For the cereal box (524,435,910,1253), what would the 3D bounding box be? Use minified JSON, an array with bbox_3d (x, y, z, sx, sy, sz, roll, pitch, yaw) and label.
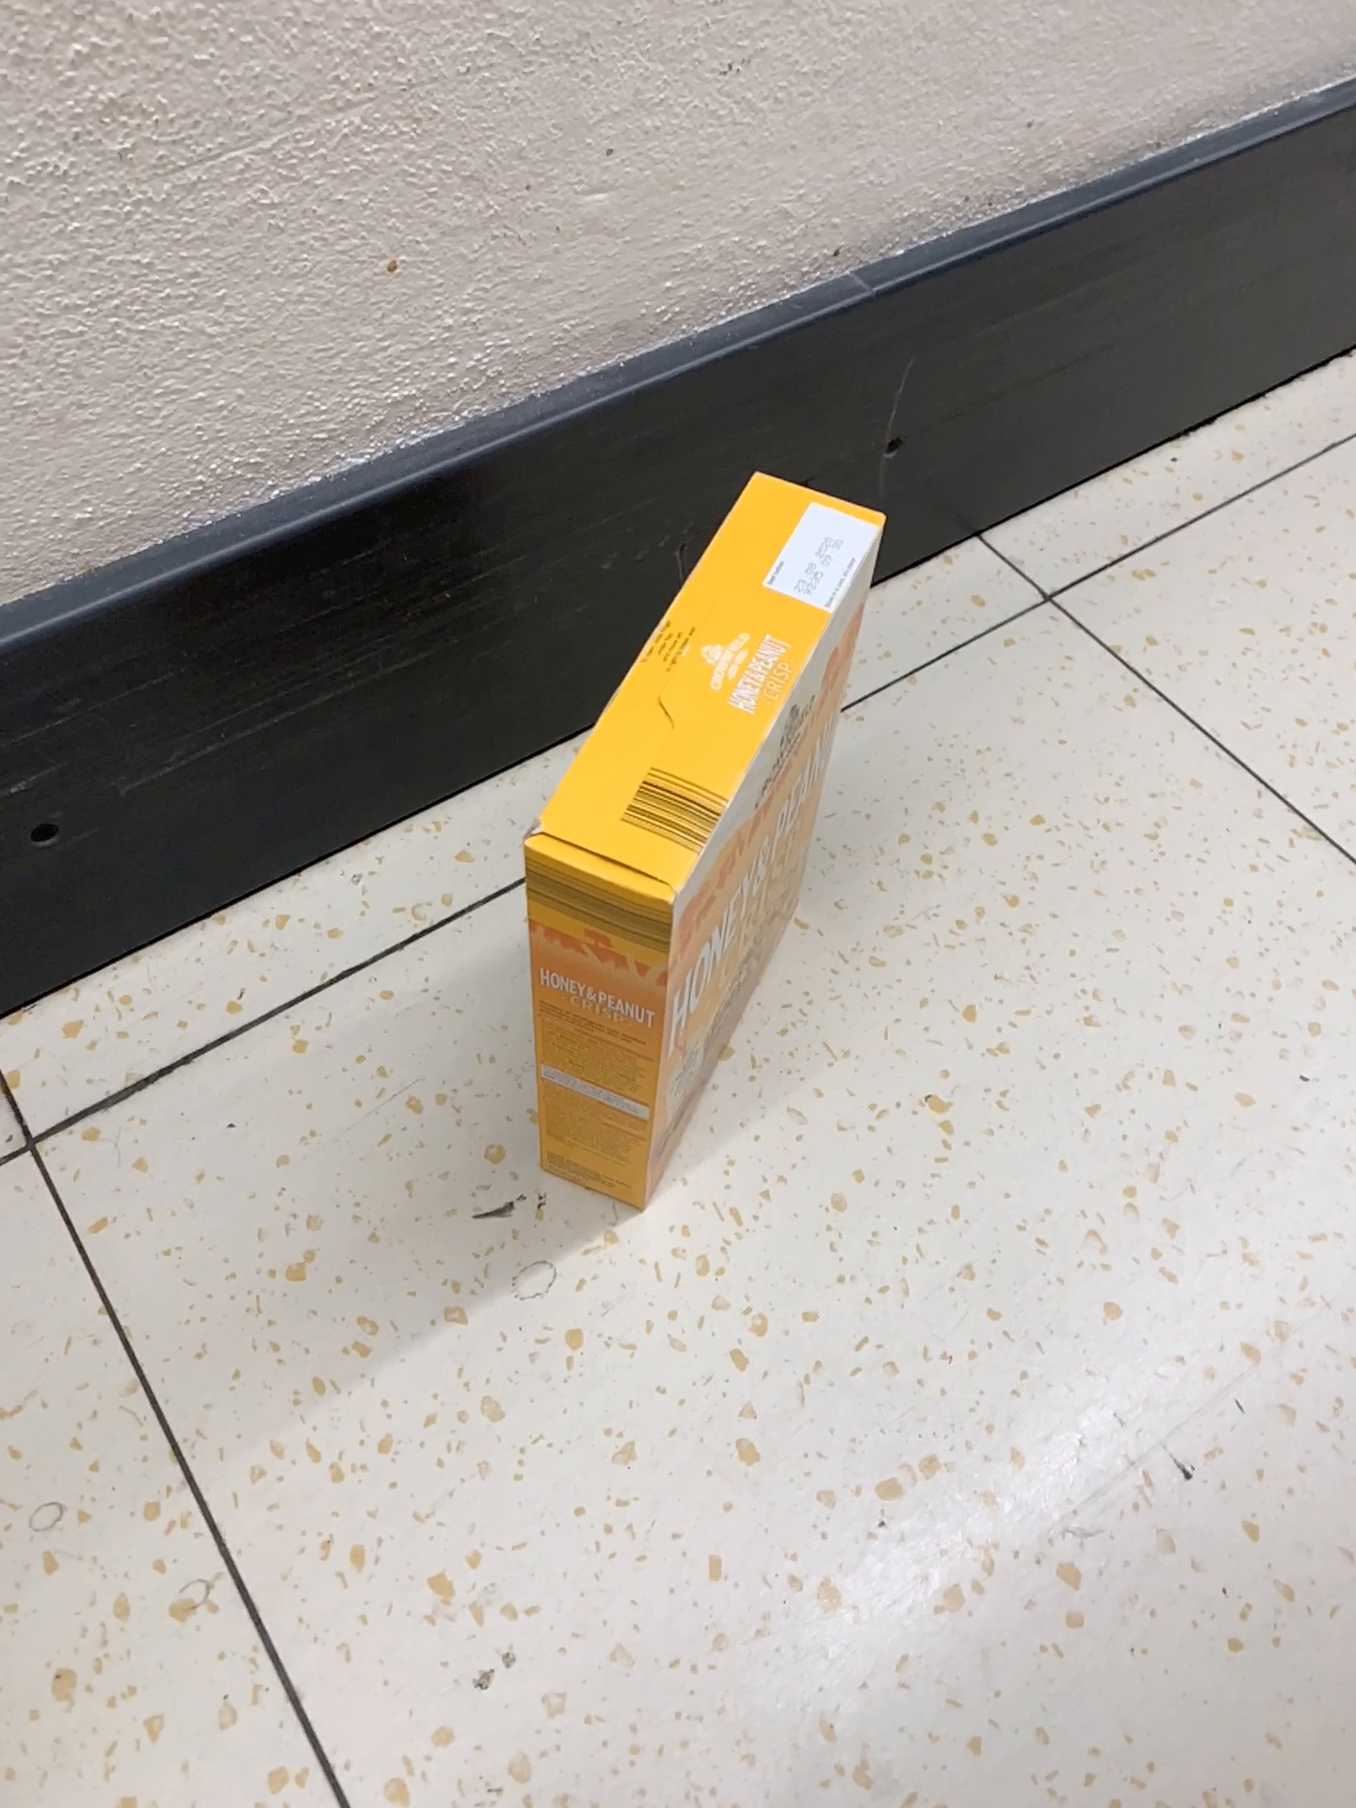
[{"bbox_3d":[0.010,-0.007,0.533,0.050,0.268,0.191,21,57,10],"label":"cereal box"}]
